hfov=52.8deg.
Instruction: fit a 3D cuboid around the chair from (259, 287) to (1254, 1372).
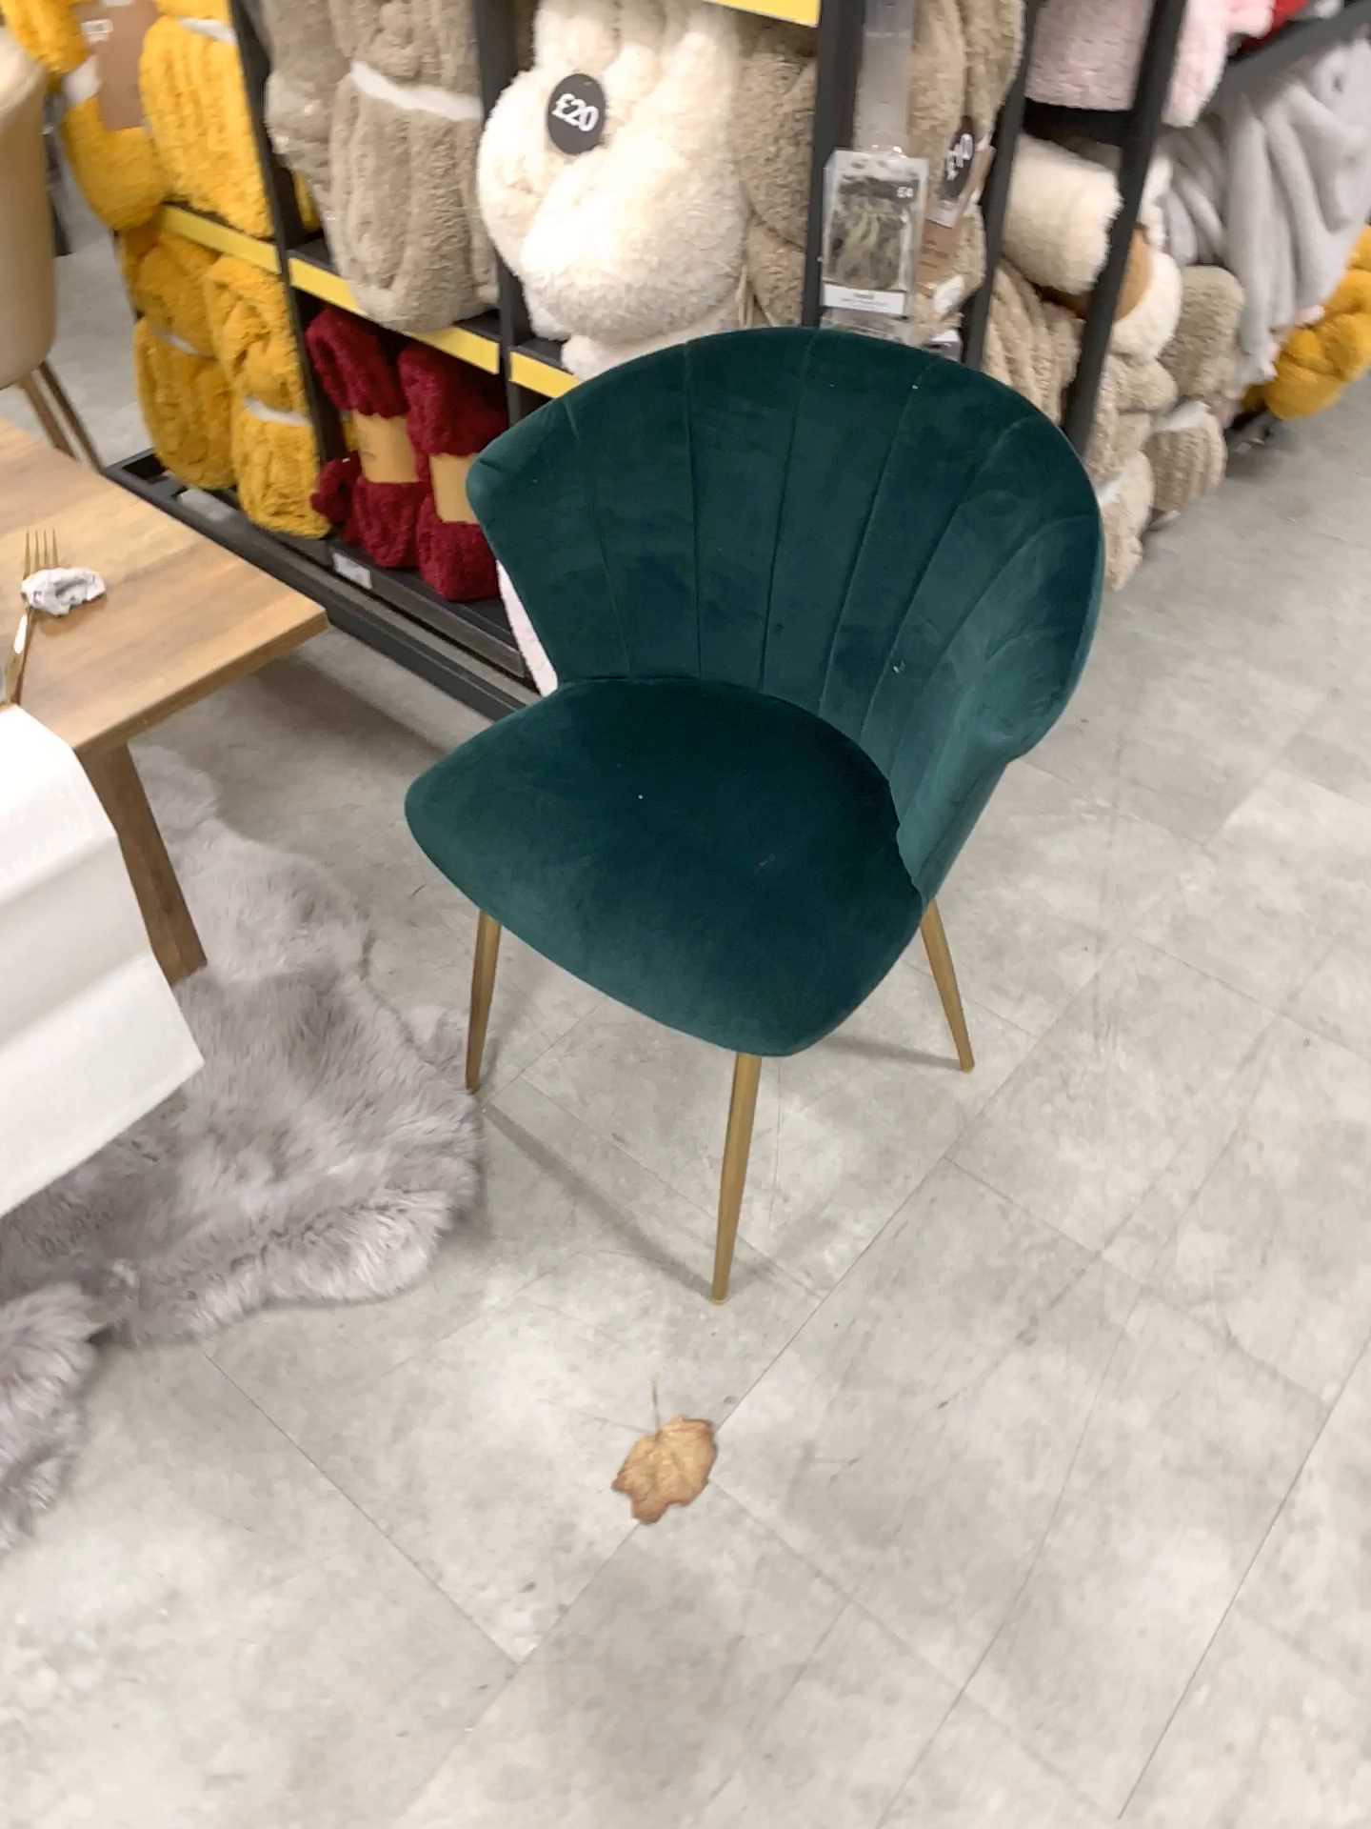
[{"bbox_3d":[0.066,-0.094,1.336,0.550,0.691,0.573,32,54,27],"label":"chair"}]
